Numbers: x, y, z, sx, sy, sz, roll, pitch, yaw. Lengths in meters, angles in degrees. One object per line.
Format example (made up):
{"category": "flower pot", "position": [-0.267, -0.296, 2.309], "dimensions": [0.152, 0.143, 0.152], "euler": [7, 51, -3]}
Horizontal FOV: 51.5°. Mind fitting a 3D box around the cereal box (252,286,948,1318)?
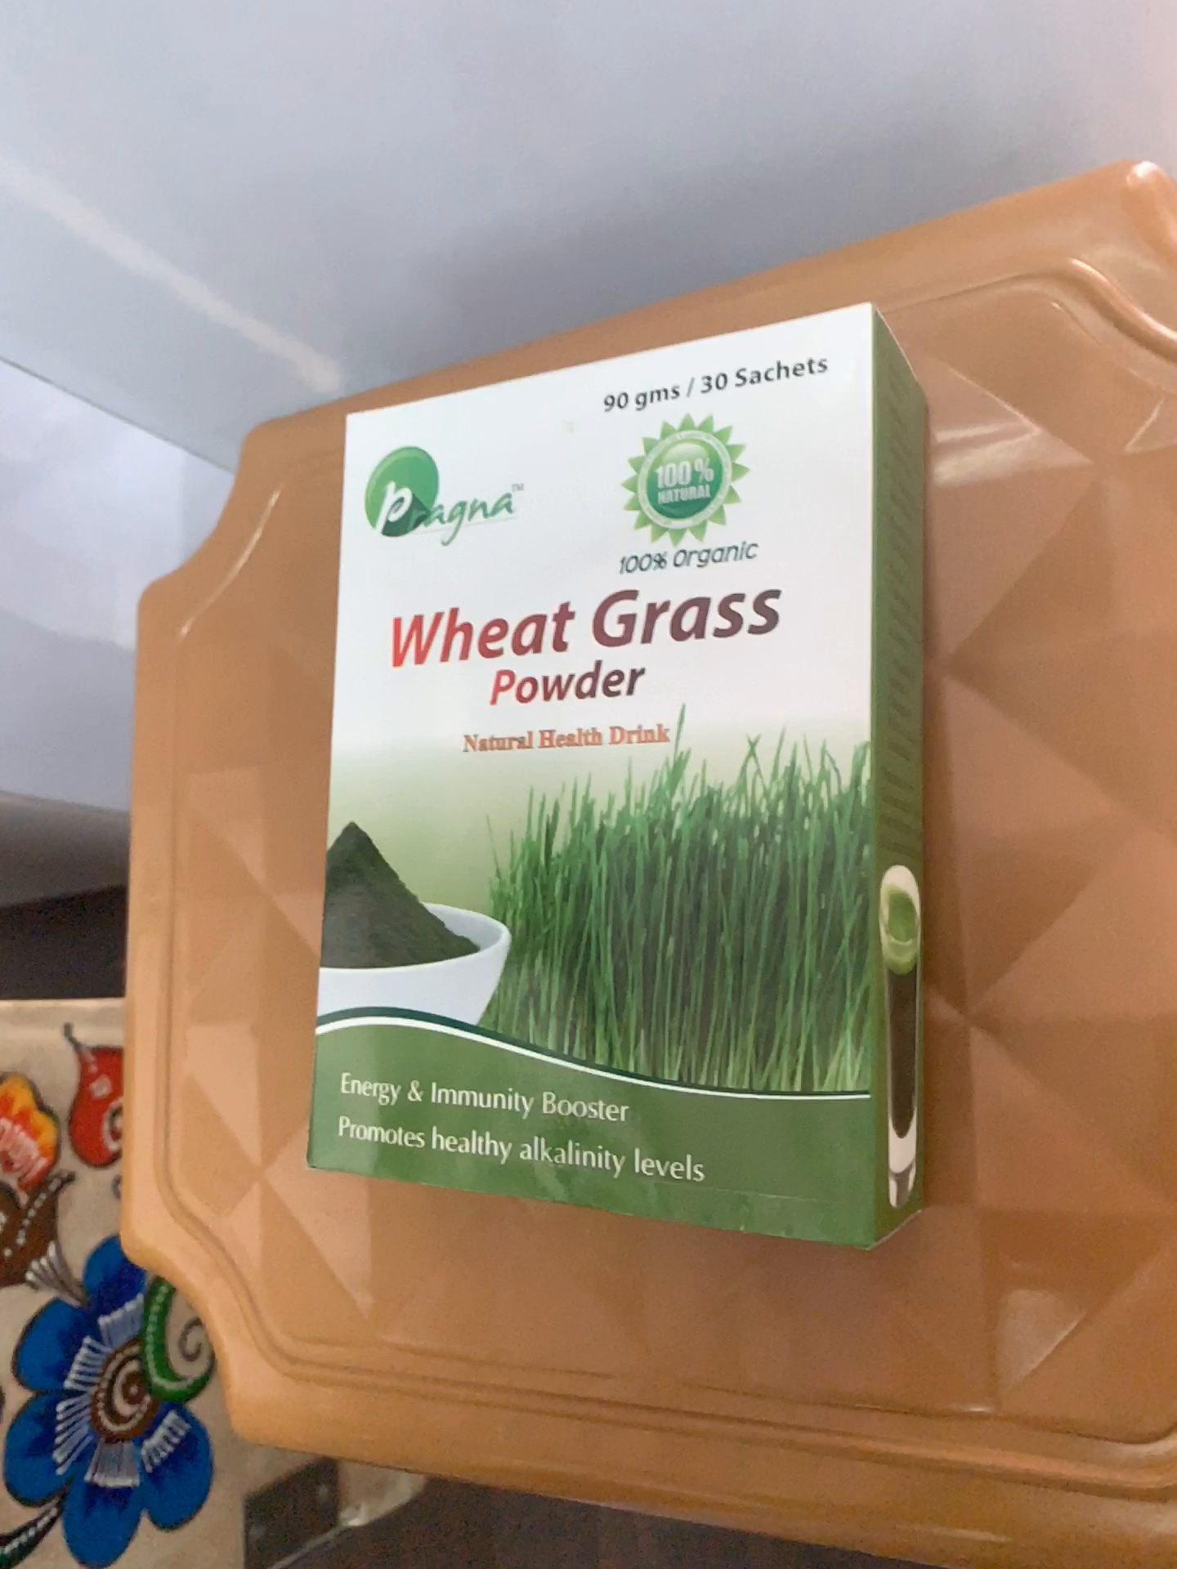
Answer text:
{"category": "cereal box", "position": [0.002, 0.004, 0.252], "dimensions": [0.131, 0.050, 0.170], "euler": [-2, 83, 28]}
